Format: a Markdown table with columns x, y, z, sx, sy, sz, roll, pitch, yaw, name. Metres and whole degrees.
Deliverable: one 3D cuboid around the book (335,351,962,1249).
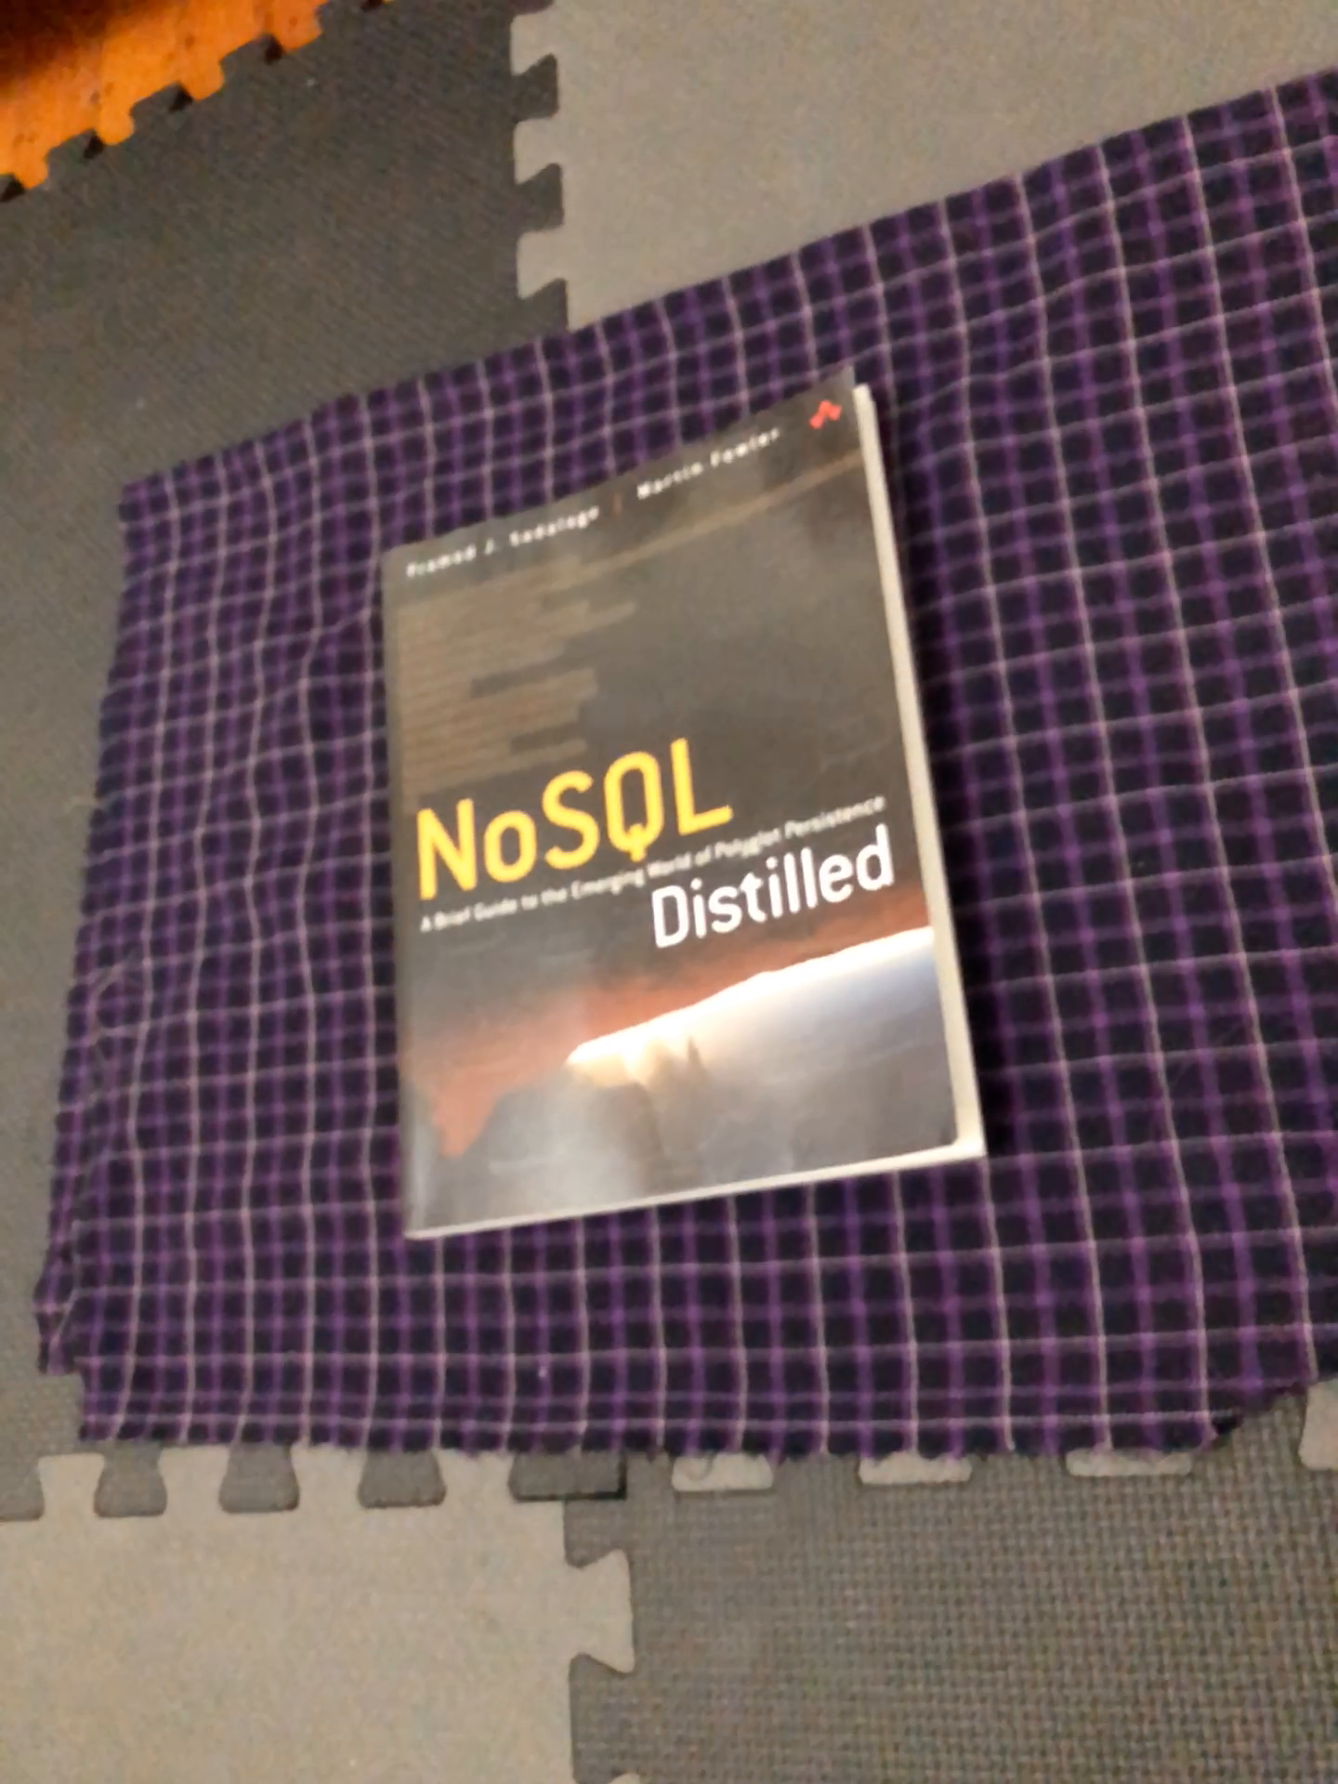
| x | y | z | sx | sy | sz | roll | pitch | yaw | name |
| --- | --- | --- | --- | --- | --- | --- | --- | --- | --- |
| -0.021 | -0.028 | 0.471 | 0.190 | 0.020 | 0.250 | -14 | 68 | 23 | book |
